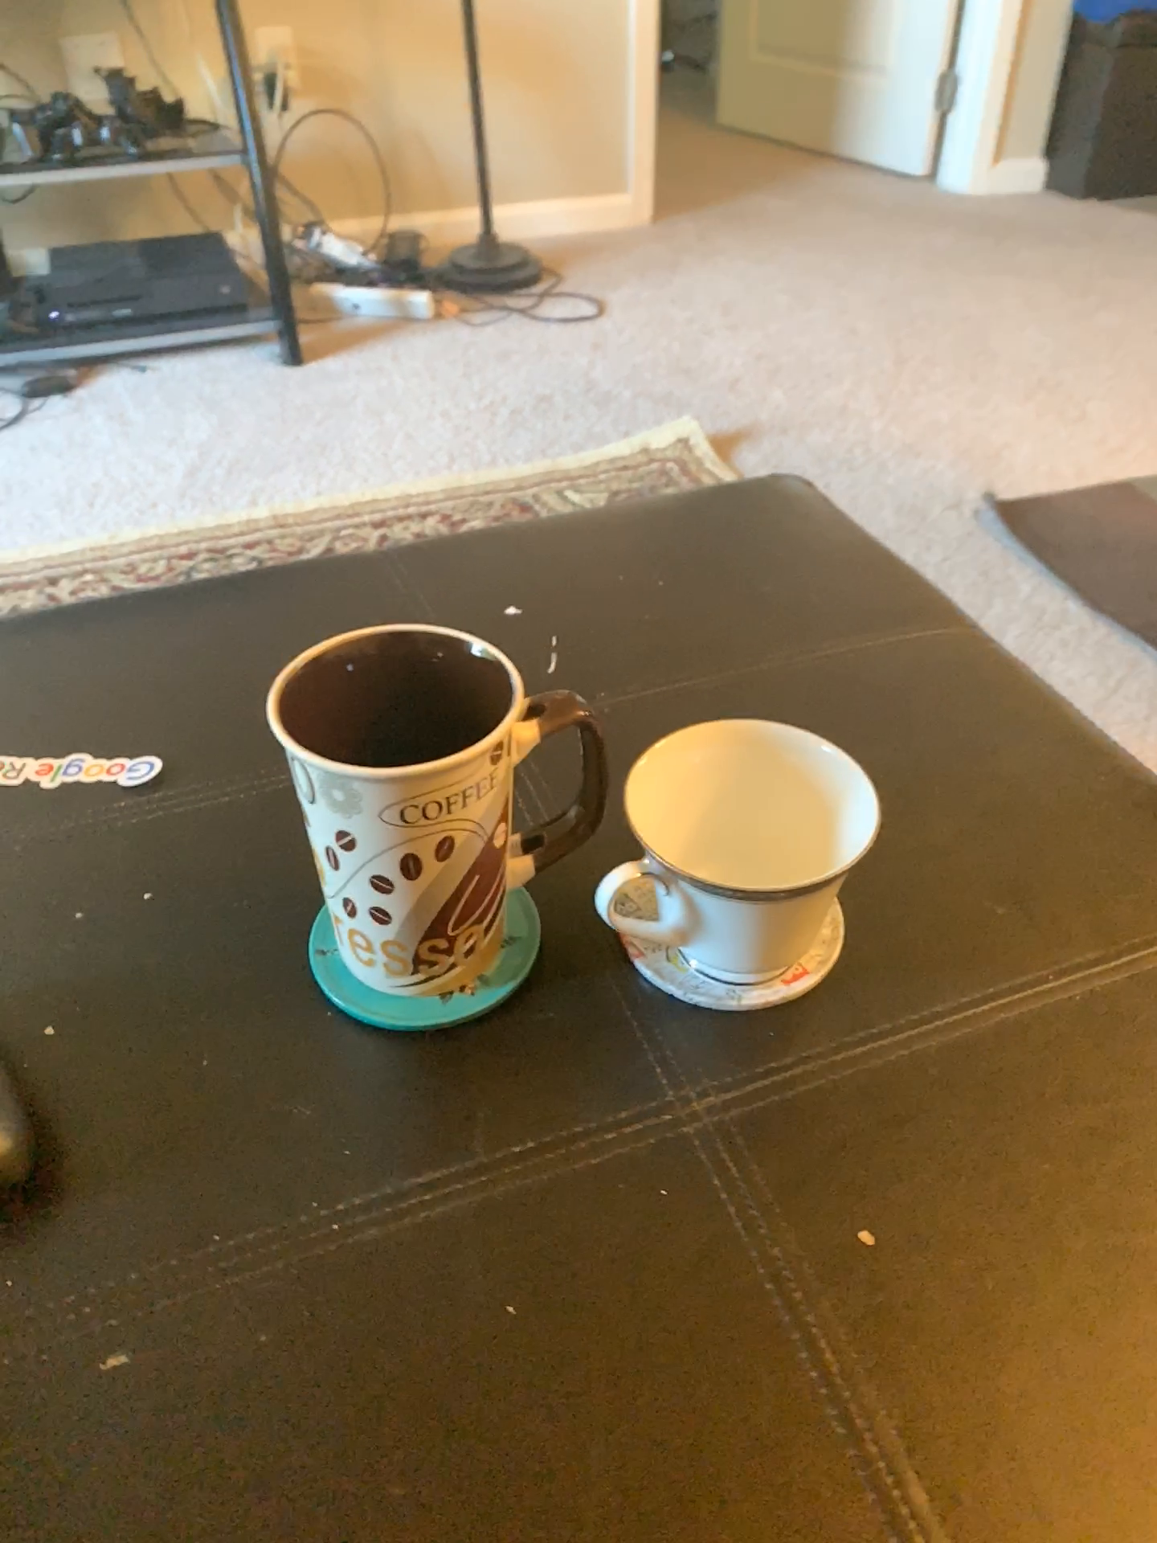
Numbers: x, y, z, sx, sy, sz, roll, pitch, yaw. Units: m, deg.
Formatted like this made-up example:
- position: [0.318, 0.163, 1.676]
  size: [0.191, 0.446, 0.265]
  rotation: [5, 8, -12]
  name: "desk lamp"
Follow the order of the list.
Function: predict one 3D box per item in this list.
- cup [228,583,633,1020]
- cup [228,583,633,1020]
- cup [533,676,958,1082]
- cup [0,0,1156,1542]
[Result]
- position: [-0.051, 0.009, 0.432]
  size: [0.120, 0.109, 0.080]
  rotation: [-12, 40, -14]
  name: "cup"
- position: [-0.051, 0.009, 0.432]
  size: [0.120, 0.109, 0.080]
  rotation: [-12, 40, -14]
  name: "cup"
- position: [0.055, 0.033, 0.424]
  size: [0.110, 0.070, 0.090]
  rotation: [-21, 43, -23]
  name: "cup"
- position: [-0.051, 0.009, 0.432]
  size: [39.260, 9.444, 0.299]
  rotation: [-12, 40, -14]
  name: "cup"
